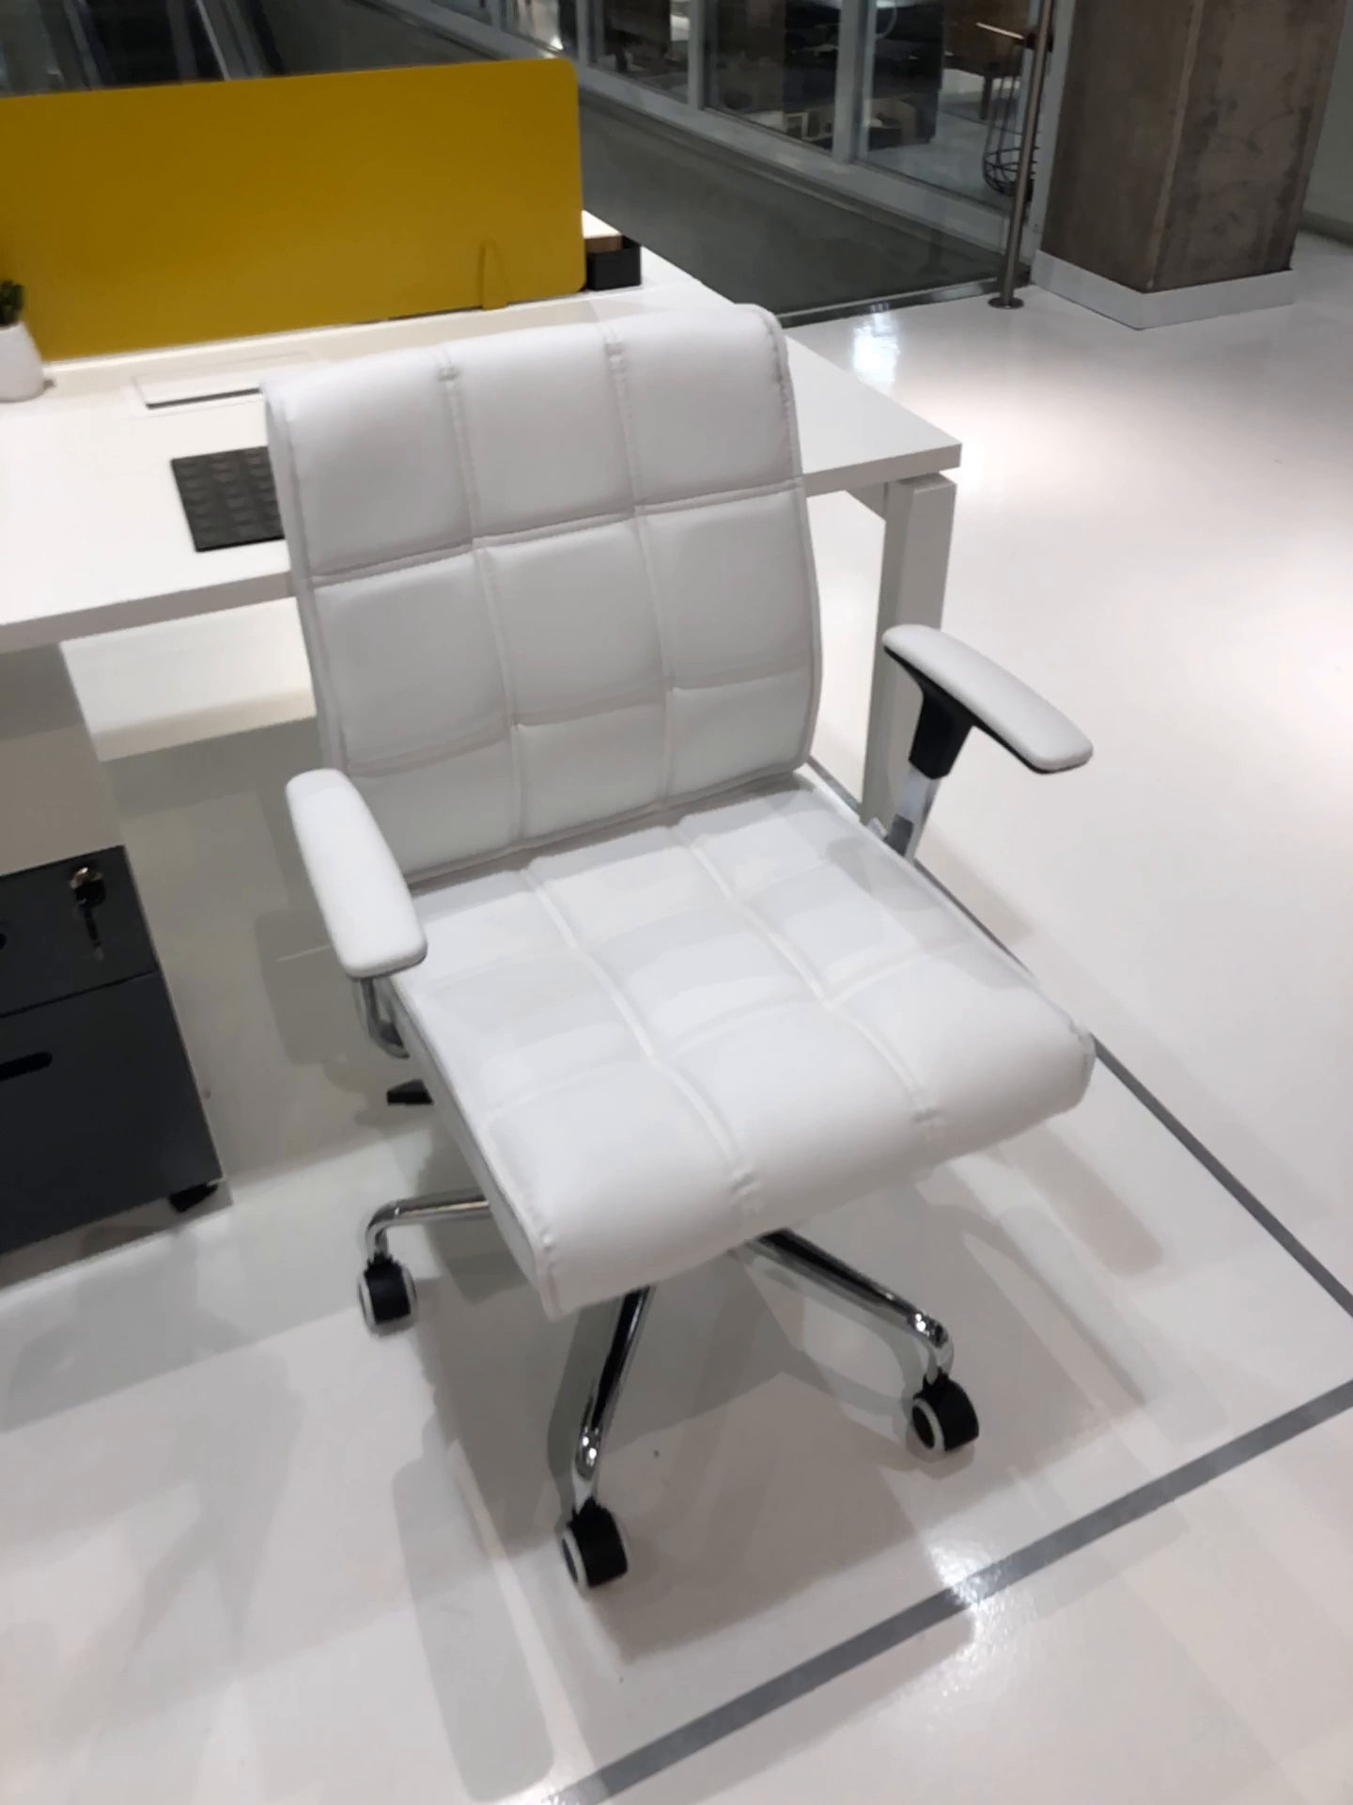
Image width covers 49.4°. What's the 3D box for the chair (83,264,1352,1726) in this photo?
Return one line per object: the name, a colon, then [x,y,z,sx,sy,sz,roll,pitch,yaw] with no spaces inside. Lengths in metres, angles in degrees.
chair: [0.000,0.042,1.251,0.651,0.883,0.633,-18,41,-22]
